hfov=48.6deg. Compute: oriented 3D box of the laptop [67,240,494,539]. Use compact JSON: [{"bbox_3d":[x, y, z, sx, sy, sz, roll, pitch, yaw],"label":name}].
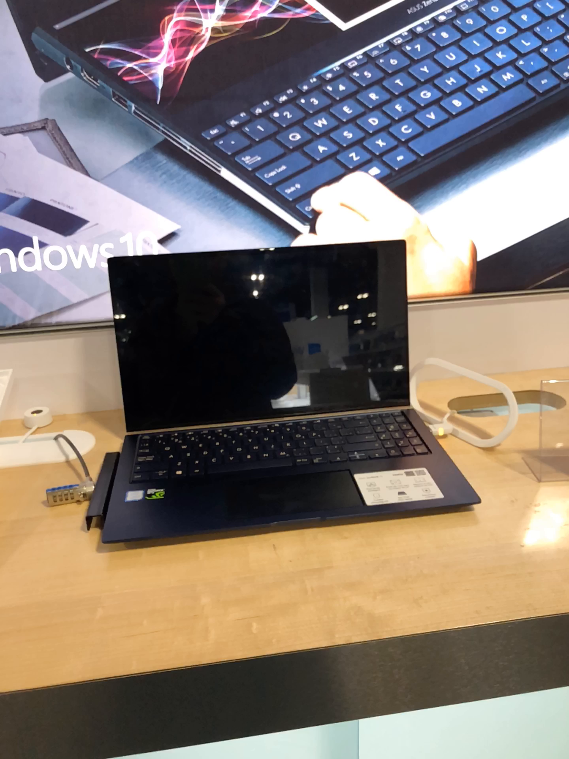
[{"bbox_3d":[-0.007,-0.012,0.644,0.336,0.196,0.250,-5,22,-5],"label":"laptop"}]
